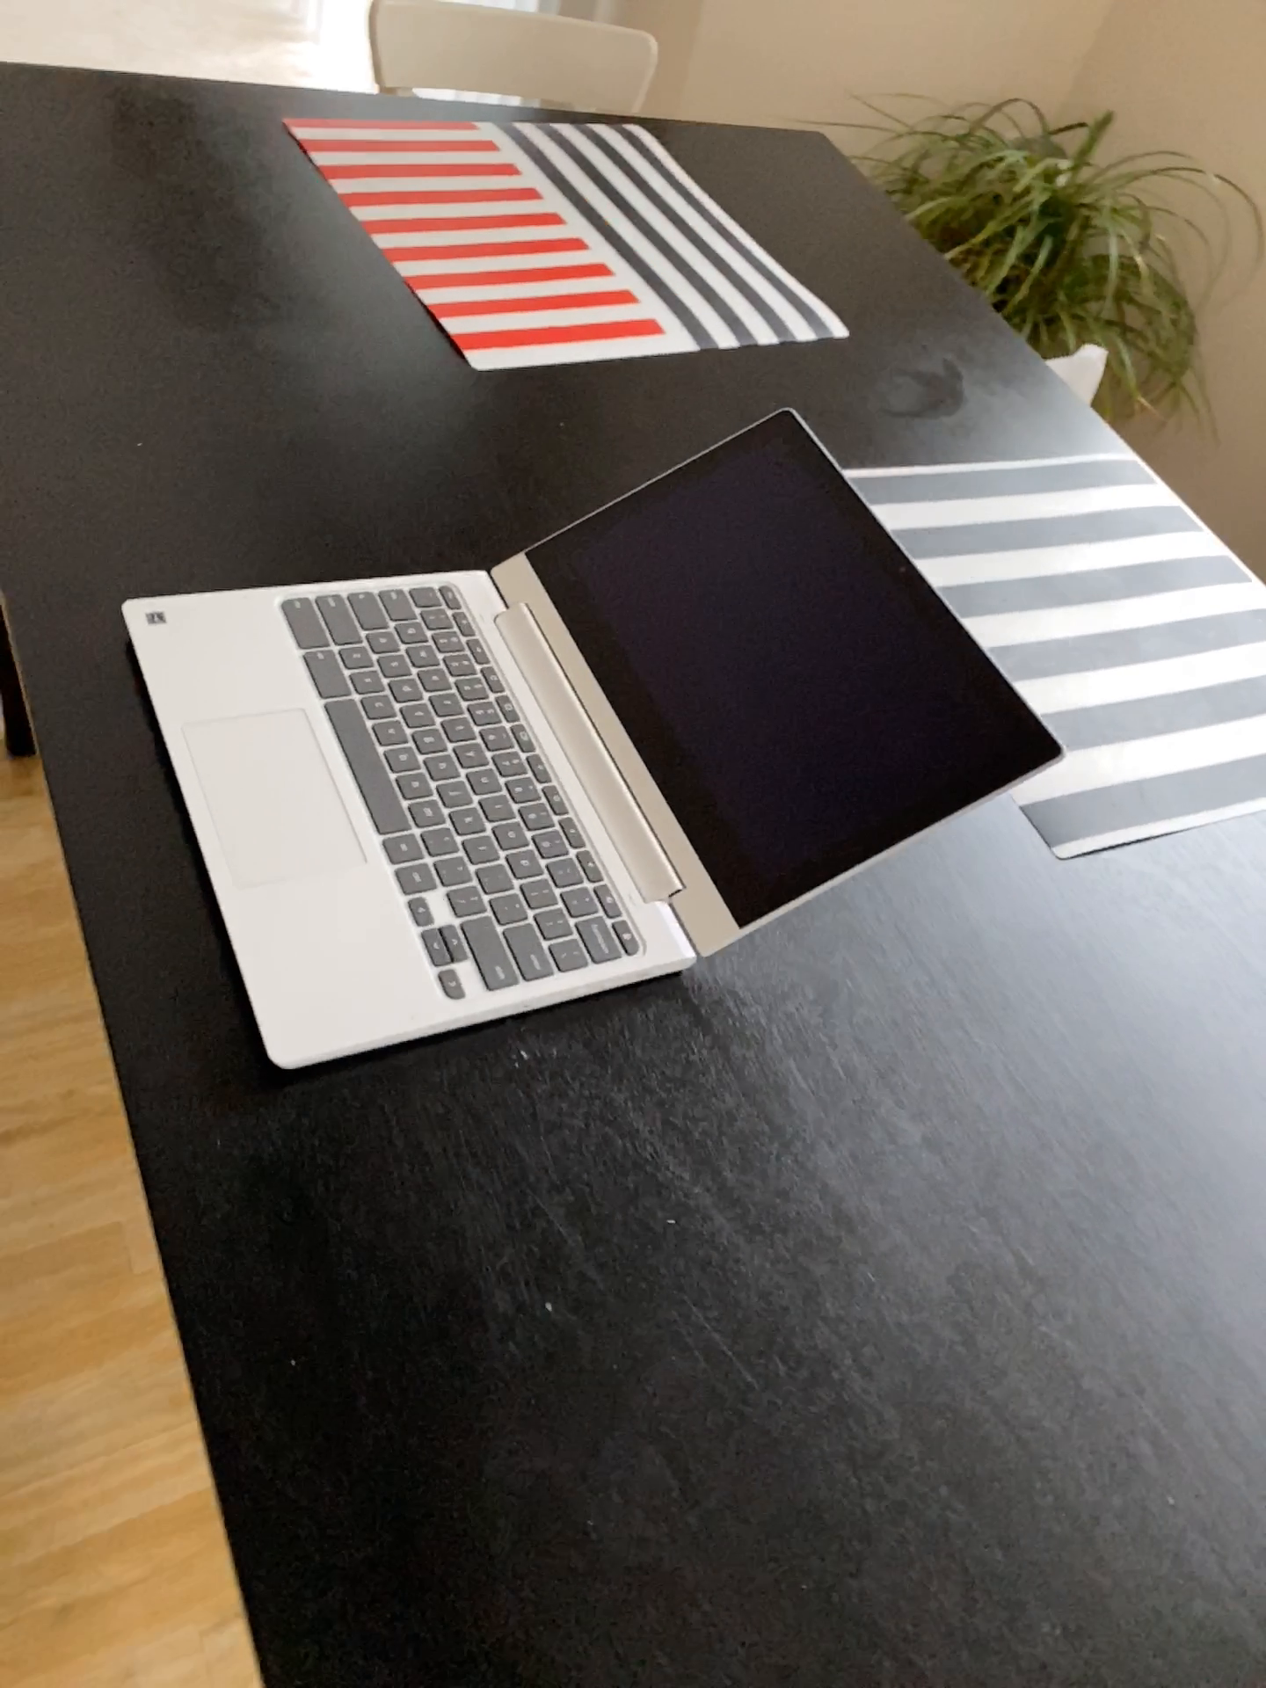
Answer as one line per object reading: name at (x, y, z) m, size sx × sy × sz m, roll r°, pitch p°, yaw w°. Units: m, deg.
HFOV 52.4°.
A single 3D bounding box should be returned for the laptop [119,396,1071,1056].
laptop at (-0.025, -0.090, 0.648) m, size 0.381 × 0.106 × 0.286 m, roll -12°, pitch 56°, yaw -27°
